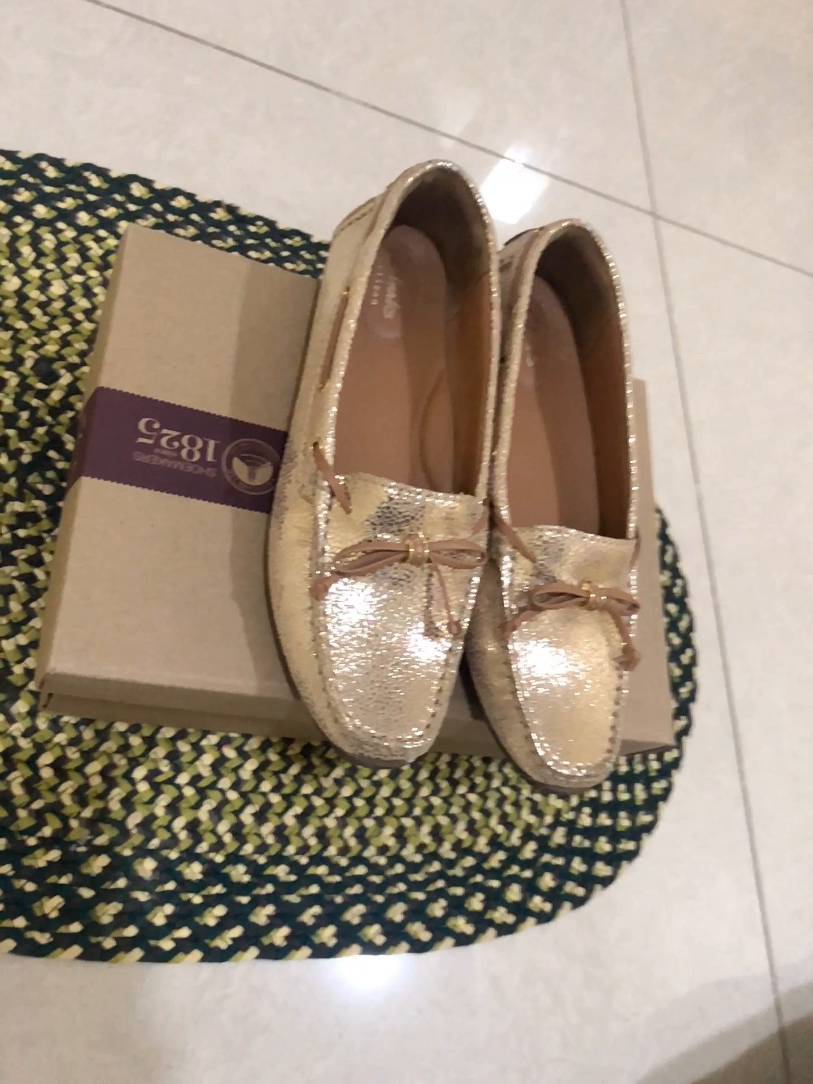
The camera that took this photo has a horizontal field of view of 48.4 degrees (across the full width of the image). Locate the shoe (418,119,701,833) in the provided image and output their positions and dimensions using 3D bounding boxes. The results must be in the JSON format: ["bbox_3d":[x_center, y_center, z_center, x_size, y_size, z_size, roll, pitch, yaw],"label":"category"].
[{"bbox_3d":[0.059,-0.035,0.407,0.090,0.060,0.310,11,66,-24],"label":"shoe"}]

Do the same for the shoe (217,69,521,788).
[{"bbox_3d":[-0.013,-0.049,0.369,0.090,0.060,0.280,11,66,-24],"label":"shoe"}]
